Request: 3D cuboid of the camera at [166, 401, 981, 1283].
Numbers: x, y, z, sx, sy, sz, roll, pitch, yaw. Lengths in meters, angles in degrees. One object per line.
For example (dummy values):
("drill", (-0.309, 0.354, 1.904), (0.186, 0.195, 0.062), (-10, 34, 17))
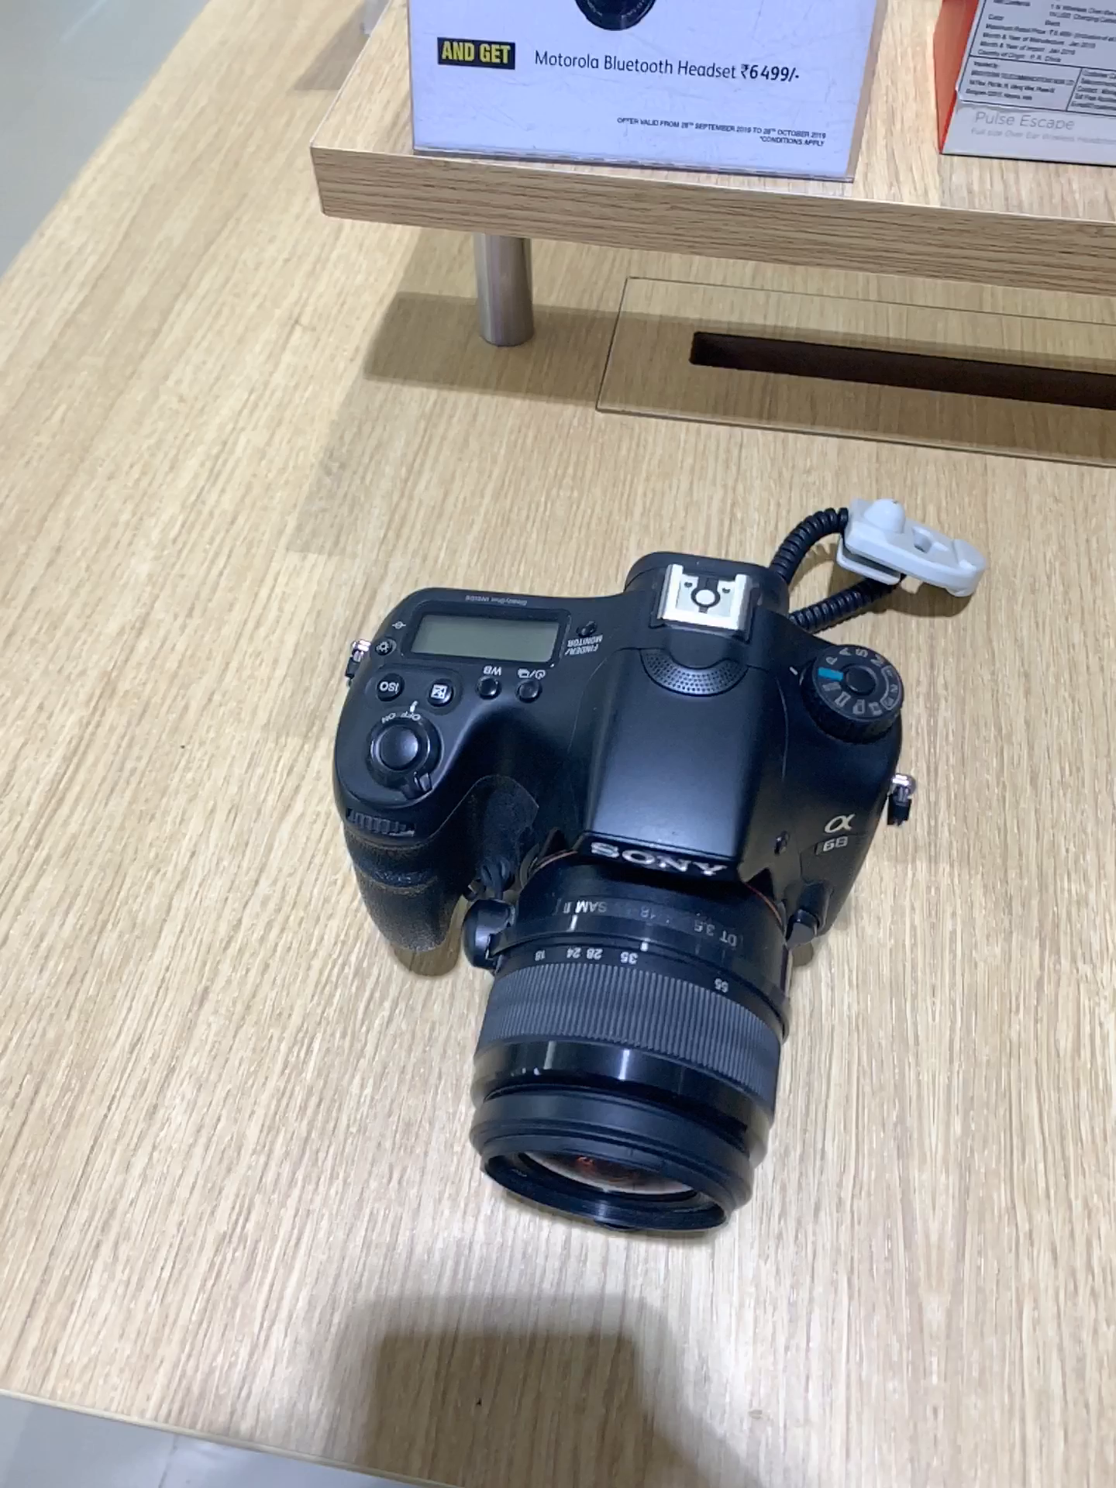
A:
("camera", (0.017, 0.016, 0.279), (0.140, 0.090, 0.170), (10, 56, 8))
